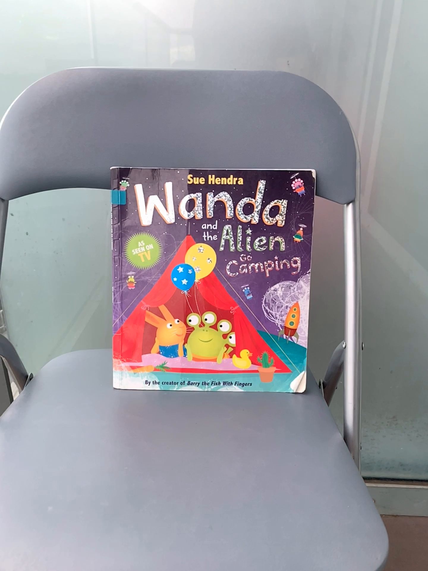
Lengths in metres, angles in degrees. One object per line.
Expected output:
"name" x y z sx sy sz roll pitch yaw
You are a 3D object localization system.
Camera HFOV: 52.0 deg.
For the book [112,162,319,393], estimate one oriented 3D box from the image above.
"book" -0.001 -0.006 0.528 0.230 0.269 0.030 2 11 1
